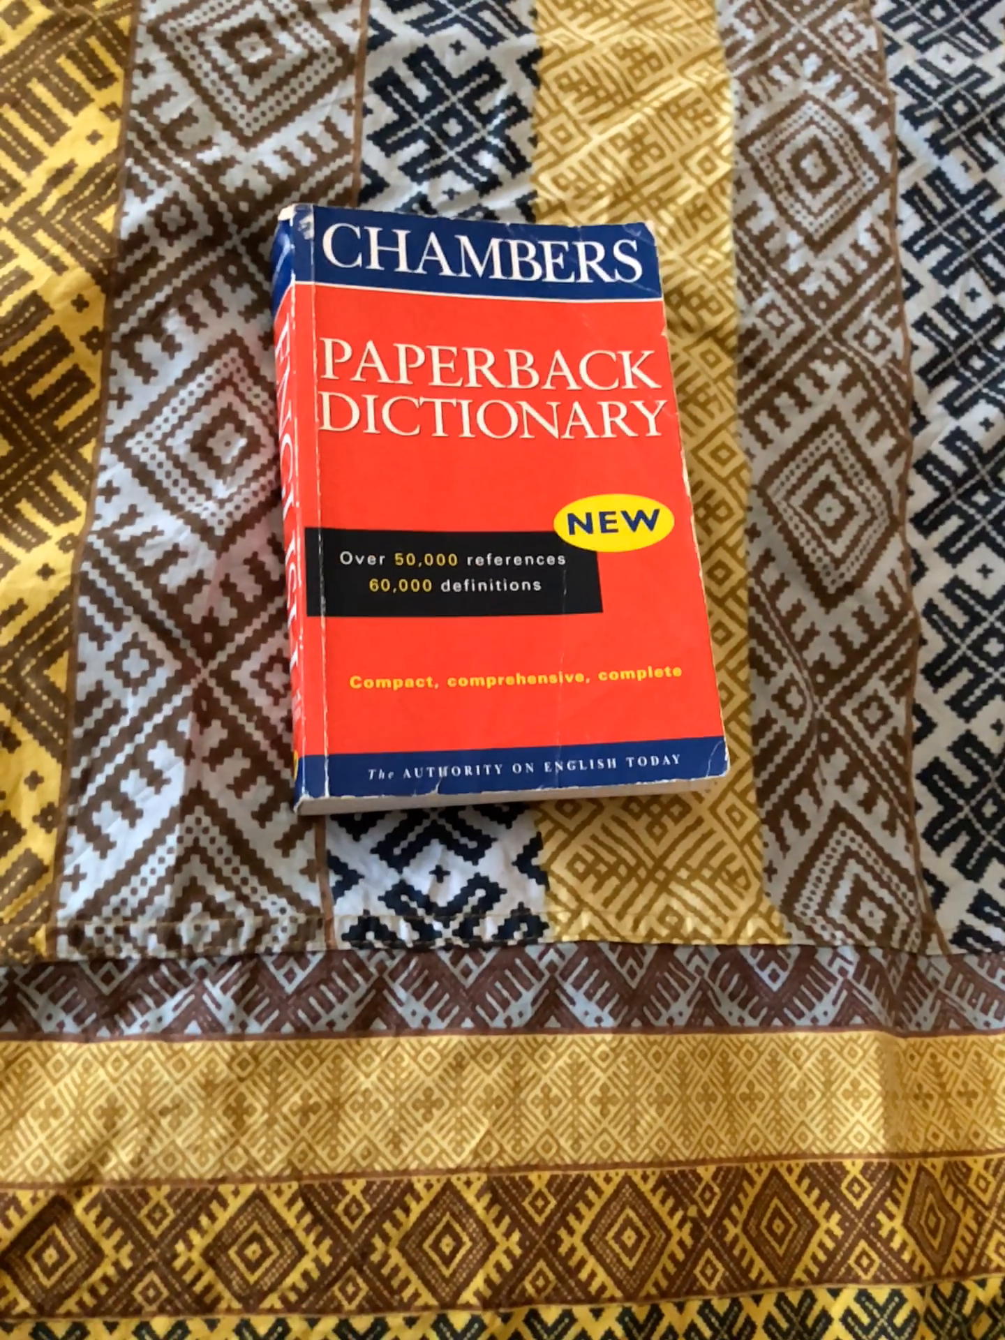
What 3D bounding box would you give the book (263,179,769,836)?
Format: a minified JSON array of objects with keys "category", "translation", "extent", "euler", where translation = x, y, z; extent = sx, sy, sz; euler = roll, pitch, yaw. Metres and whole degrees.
[{"category":"book","translation":[-0.002,-0.044,0.305],"extent":[0.117,0.044,0.166],"euler":[-2,77,-12]}]
